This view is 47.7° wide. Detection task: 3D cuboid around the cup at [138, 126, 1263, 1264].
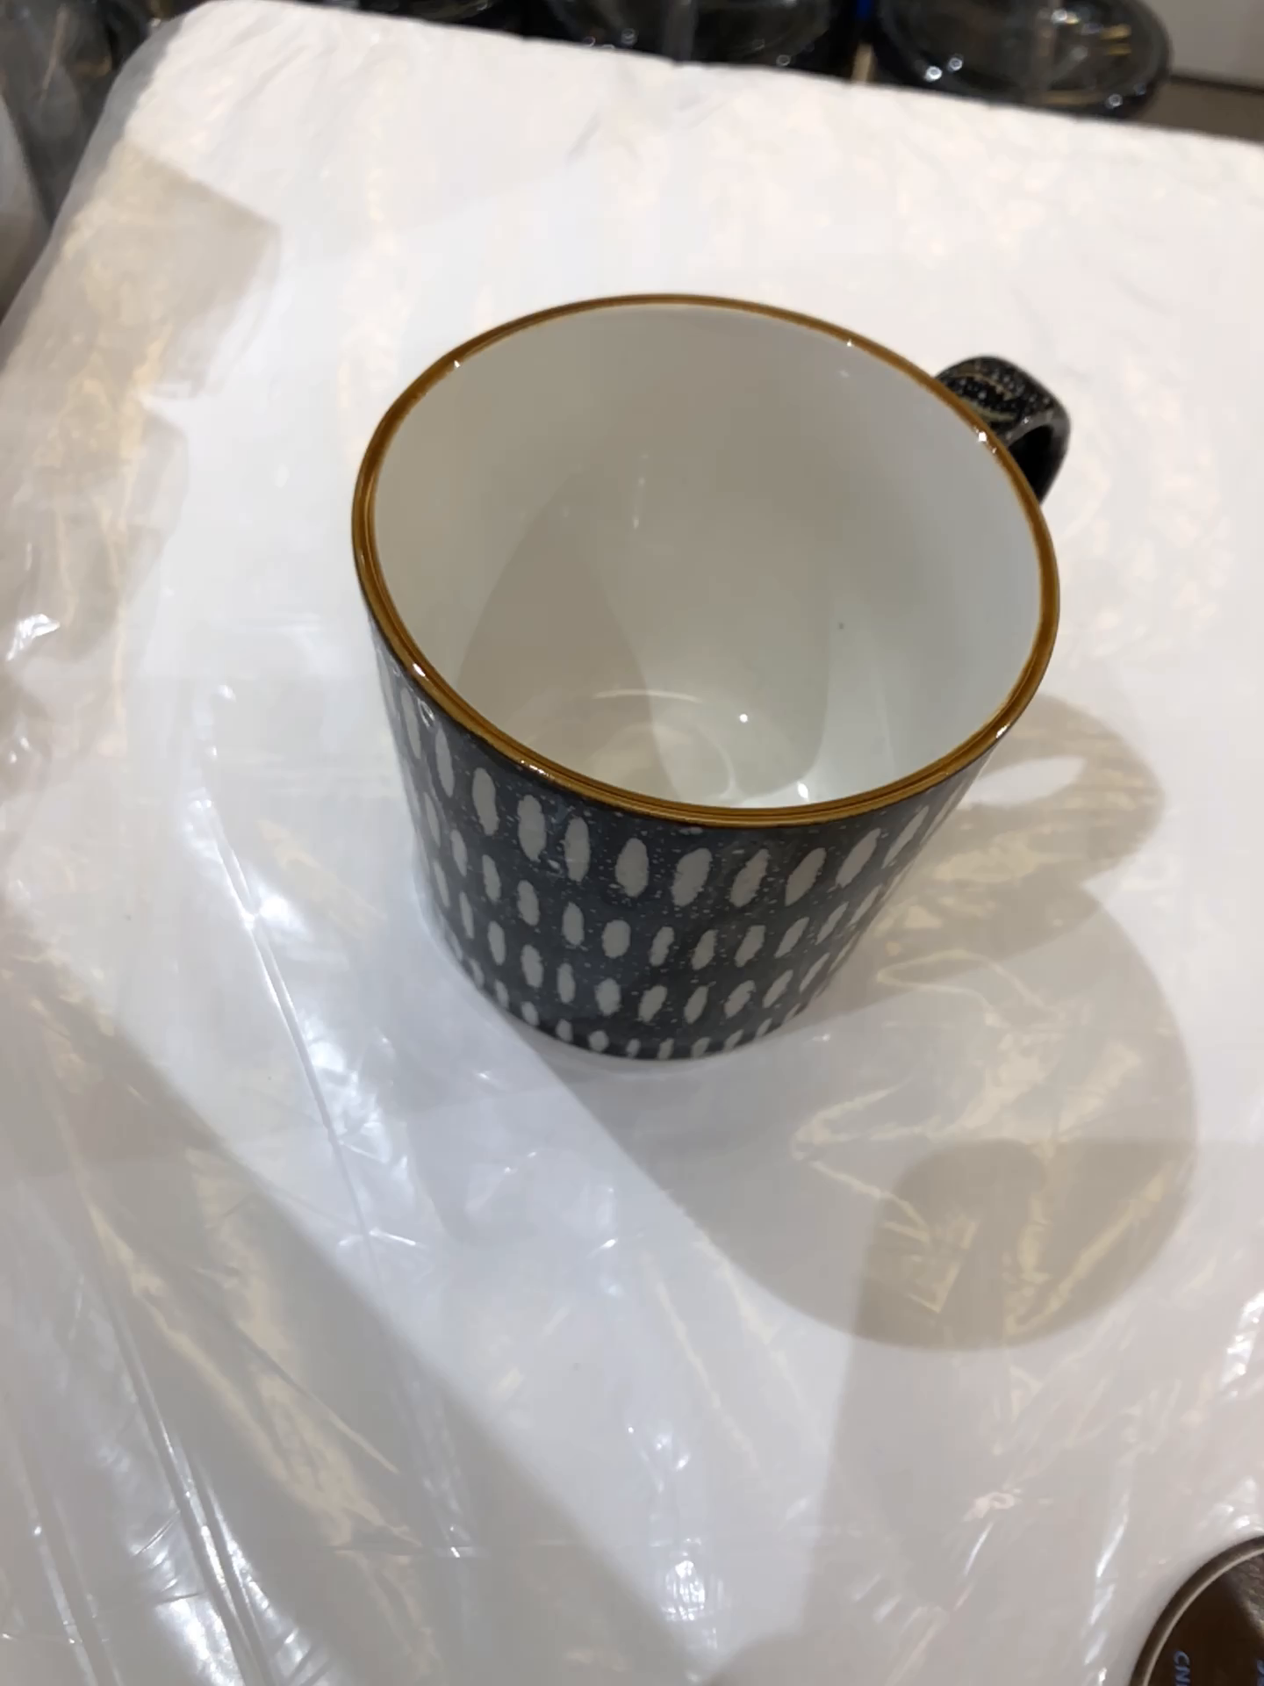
[{"bbox_3d":[0.012,-0.021,0.194,0.110,0.080,0.080,-38,68,-24],"label":"cup"}]
